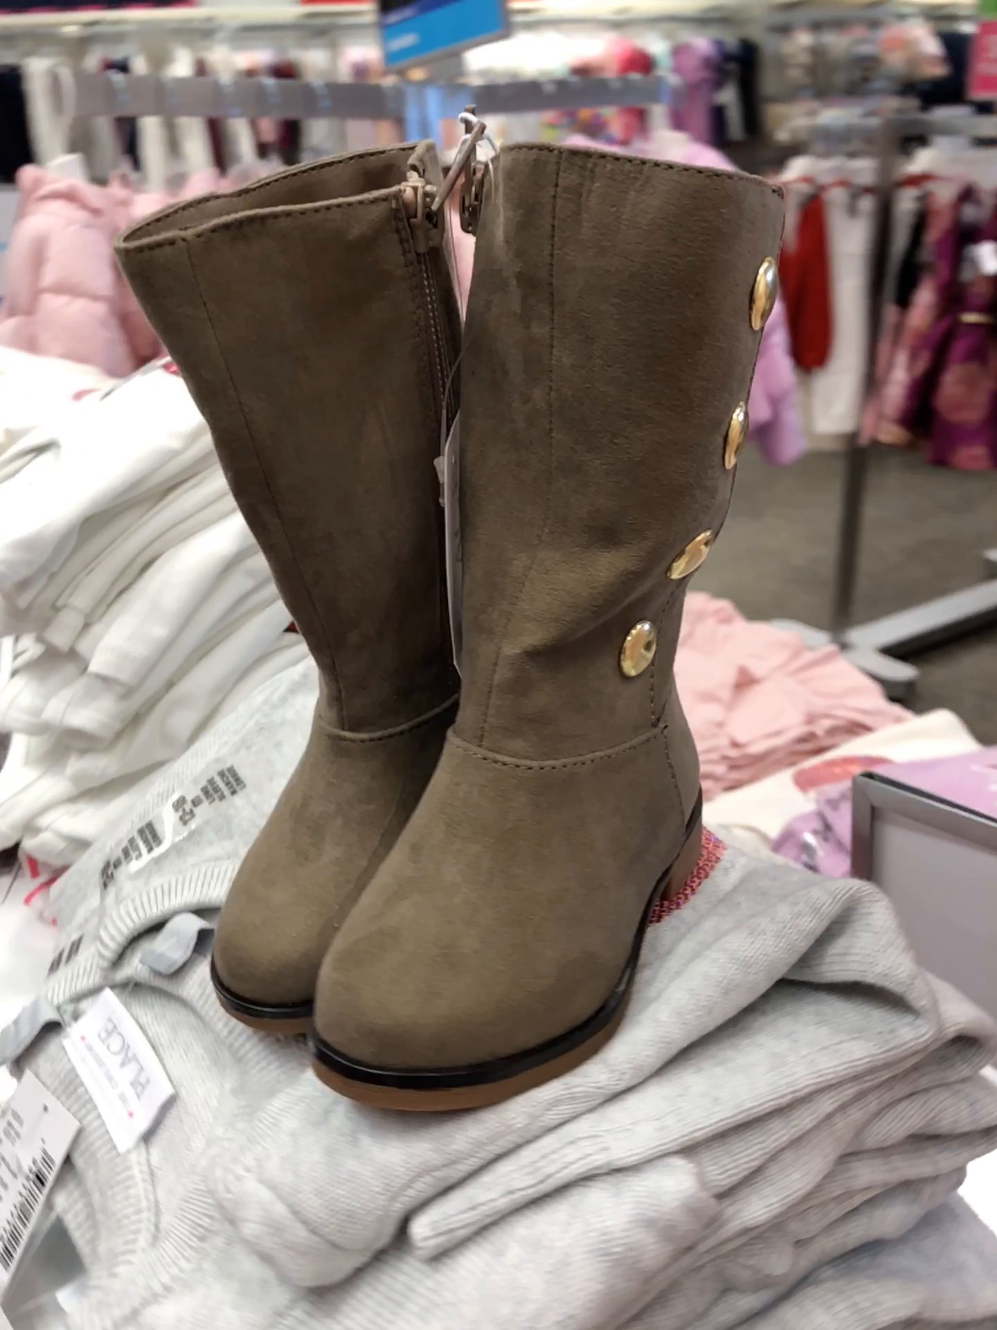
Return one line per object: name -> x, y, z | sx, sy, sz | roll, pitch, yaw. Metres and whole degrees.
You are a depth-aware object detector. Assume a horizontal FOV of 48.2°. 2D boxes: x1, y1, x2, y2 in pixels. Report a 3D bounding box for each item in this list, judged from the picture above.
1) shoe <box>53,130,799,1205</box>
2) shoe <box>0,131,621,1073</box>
shoe -> 0.006, -0.015, 0.250 | 0.070, 0.184, 0.148 | 10, 27, 32
shoe -> -0.046, -0.024, 0.277 | 0.070, 0.164, 0.155 | 11, 38, 33
